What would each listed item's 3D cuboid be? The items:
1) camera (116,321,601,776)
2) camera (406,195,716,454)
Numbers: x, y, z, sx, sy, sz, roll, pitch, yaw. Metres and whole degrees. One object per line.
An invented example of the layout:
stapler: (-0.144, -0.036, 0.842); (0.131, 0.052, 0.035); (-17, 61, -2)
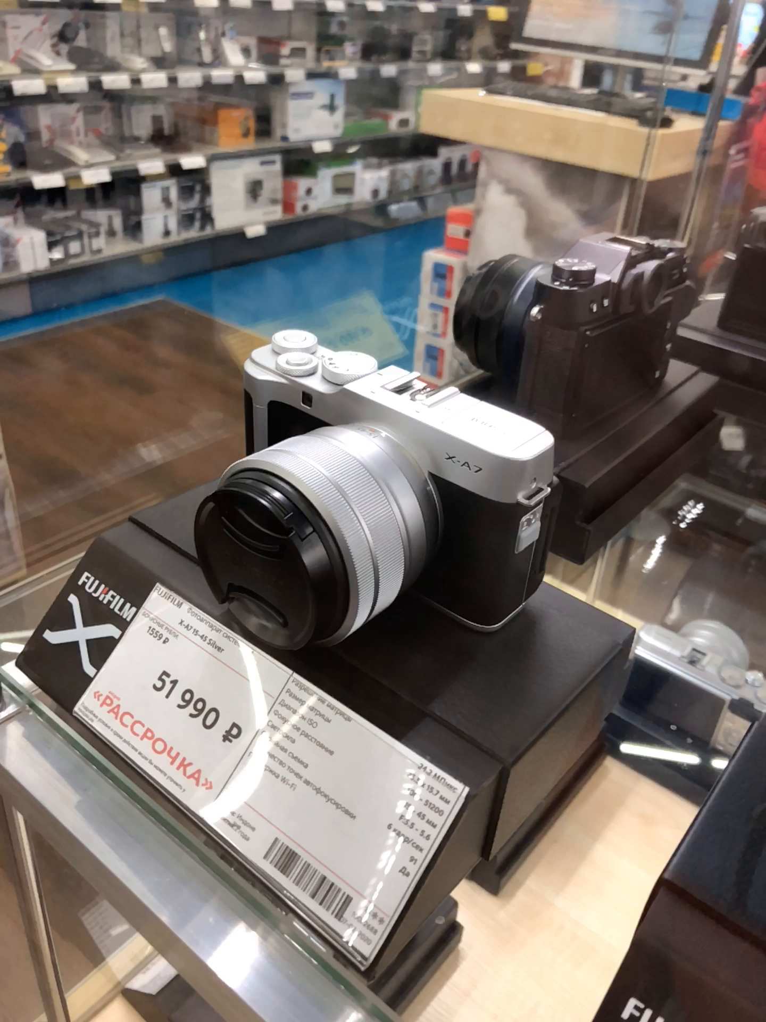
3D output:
camera: (-0.012, 0.002, 0.283); (0.126, 0.080, 0.084); (28, 38, 32)
camera: (0.088, -0.100, 0.424); (0.097, 0.080, 0.115); (26, 37, 30)
